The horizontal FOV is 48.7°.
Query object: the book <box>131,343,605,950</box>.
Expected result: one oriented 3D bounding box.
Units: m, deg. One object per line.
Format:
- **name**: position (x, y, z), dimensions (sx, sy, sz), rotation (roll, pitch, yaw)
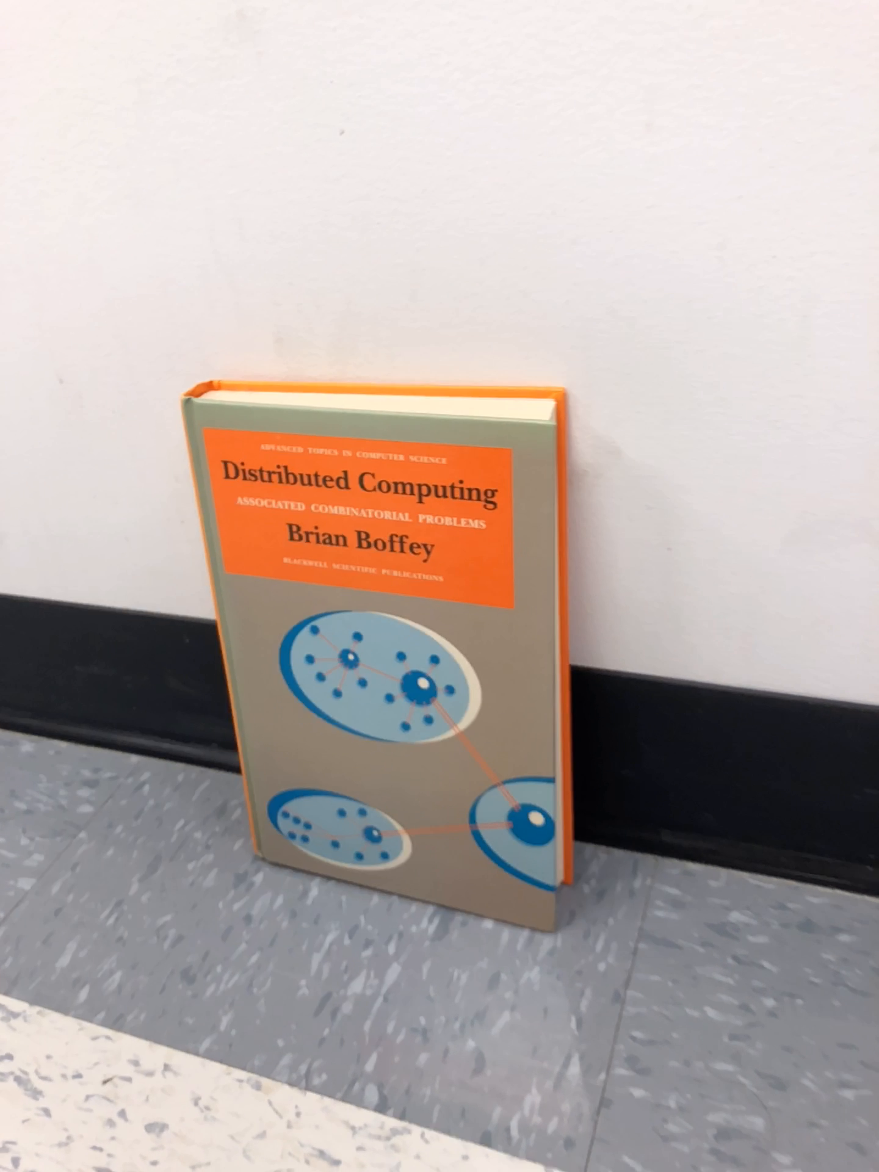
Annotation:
- **book**: position (-0.020, 0.025, 0.408), dimensions (0.170, 0.239, 0.050), rotation (7, 28, 22)
